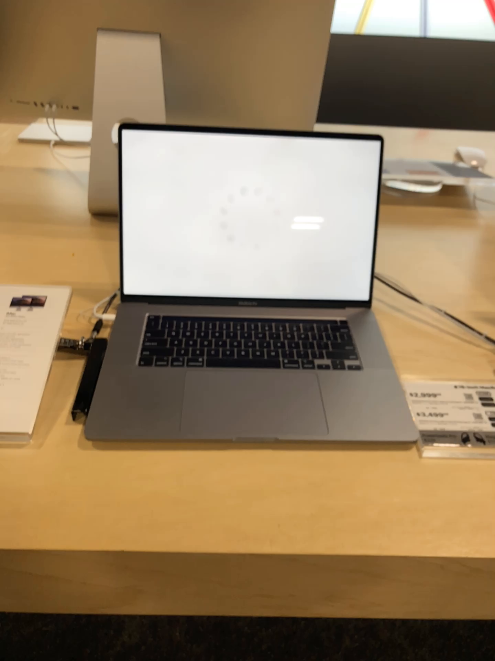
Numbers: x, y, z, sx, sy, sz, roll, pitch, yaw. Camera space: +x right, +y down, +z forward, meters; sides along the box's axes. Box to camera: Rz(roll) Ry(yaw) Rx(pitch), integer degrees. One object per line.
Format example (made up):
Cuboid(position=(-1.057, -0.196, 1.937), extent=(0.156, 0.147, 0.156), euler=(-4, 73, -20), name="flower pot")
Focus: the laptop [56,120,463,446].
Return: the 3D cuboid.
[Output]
Cuboid(position=(-0.003, -0.080, 0.649), extent=(0.335, 0.204, 0.350), euler=(2, 38, -1), name="laptop")
